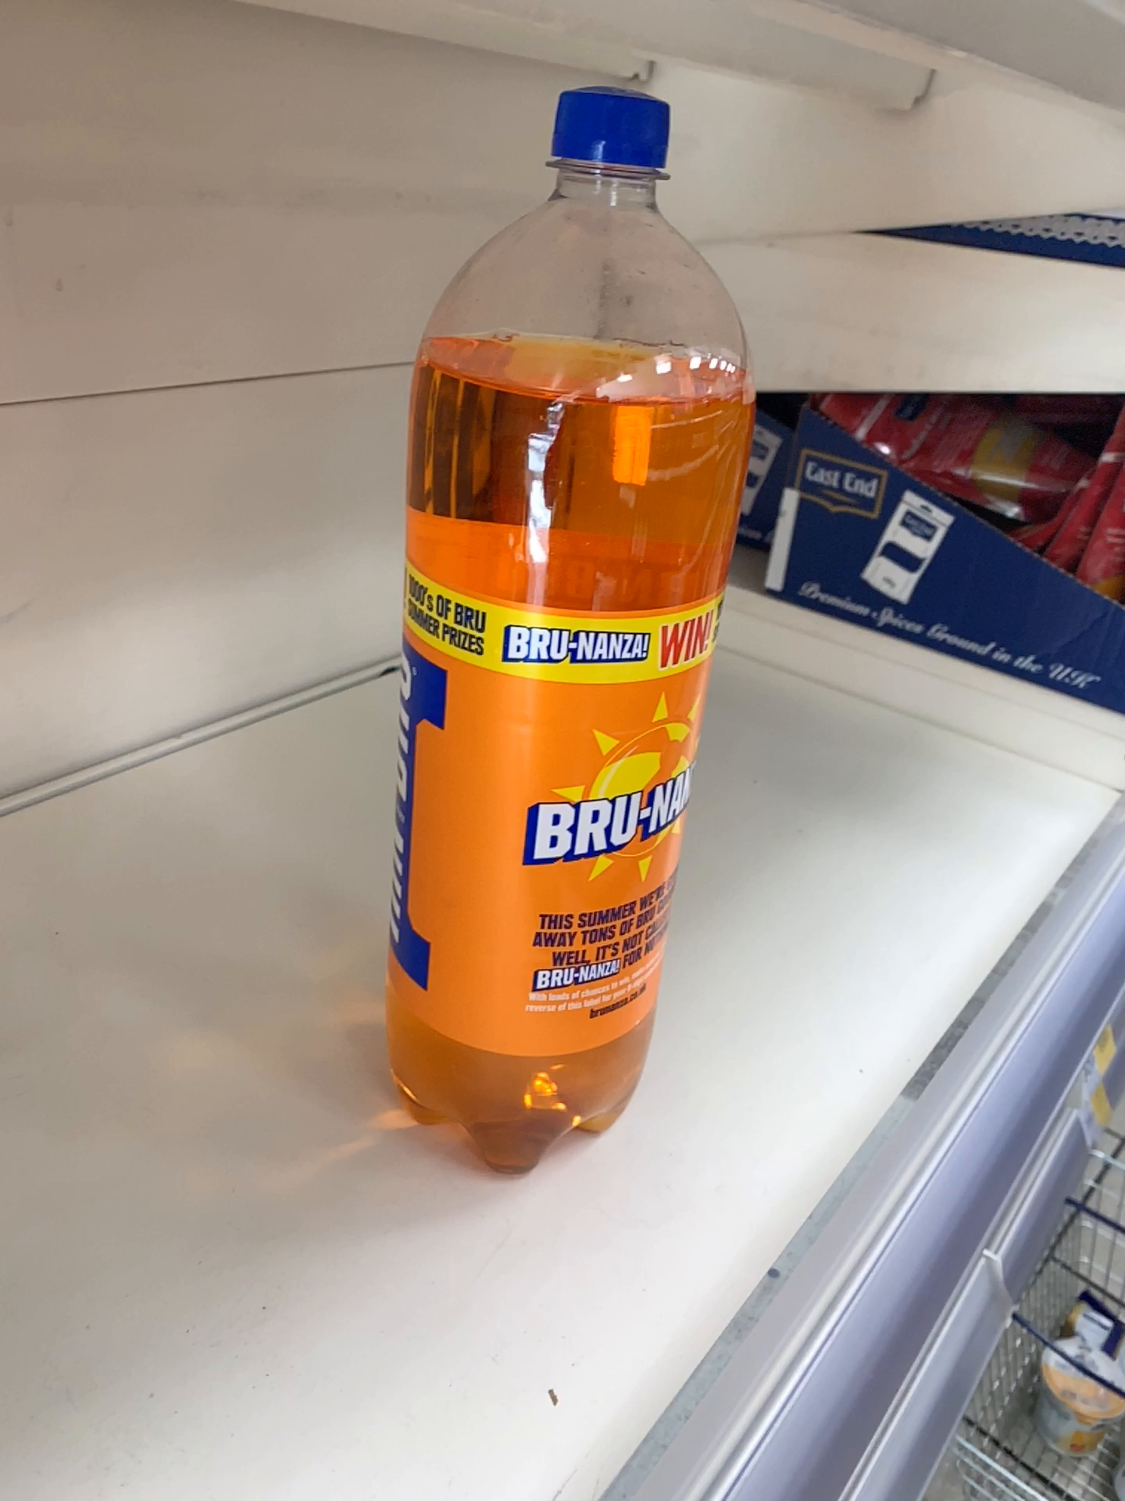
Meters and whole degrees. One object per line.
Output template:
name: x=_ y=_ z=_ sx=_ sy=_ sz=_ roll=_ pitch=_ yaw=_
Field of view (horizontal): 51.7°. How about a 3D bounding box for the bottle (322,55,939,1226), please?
bottle: x=0.001 y=-0.025 z=0.373 sx=0.110 sy=0.327 sz=0.111 roll=6 pitch=27 yaw=-3
